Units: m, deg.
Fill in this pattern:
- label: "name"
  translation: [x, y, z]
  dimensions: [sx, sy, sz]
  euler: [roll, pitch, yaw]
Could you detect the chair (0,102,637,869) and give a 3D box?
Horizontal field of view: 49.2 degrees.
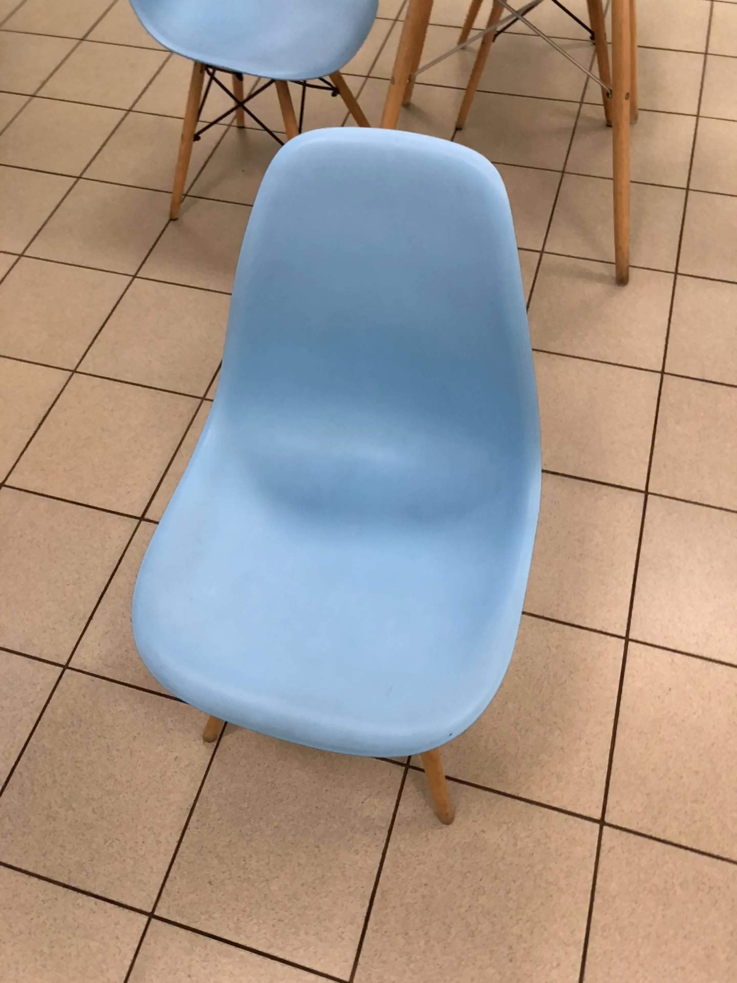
- label: "chair"
  translation: [-0.020, 0.058, 1.038]
  dimensions: [0.470, 0.777, 0.572]
  euler: [13, 59, 11]
